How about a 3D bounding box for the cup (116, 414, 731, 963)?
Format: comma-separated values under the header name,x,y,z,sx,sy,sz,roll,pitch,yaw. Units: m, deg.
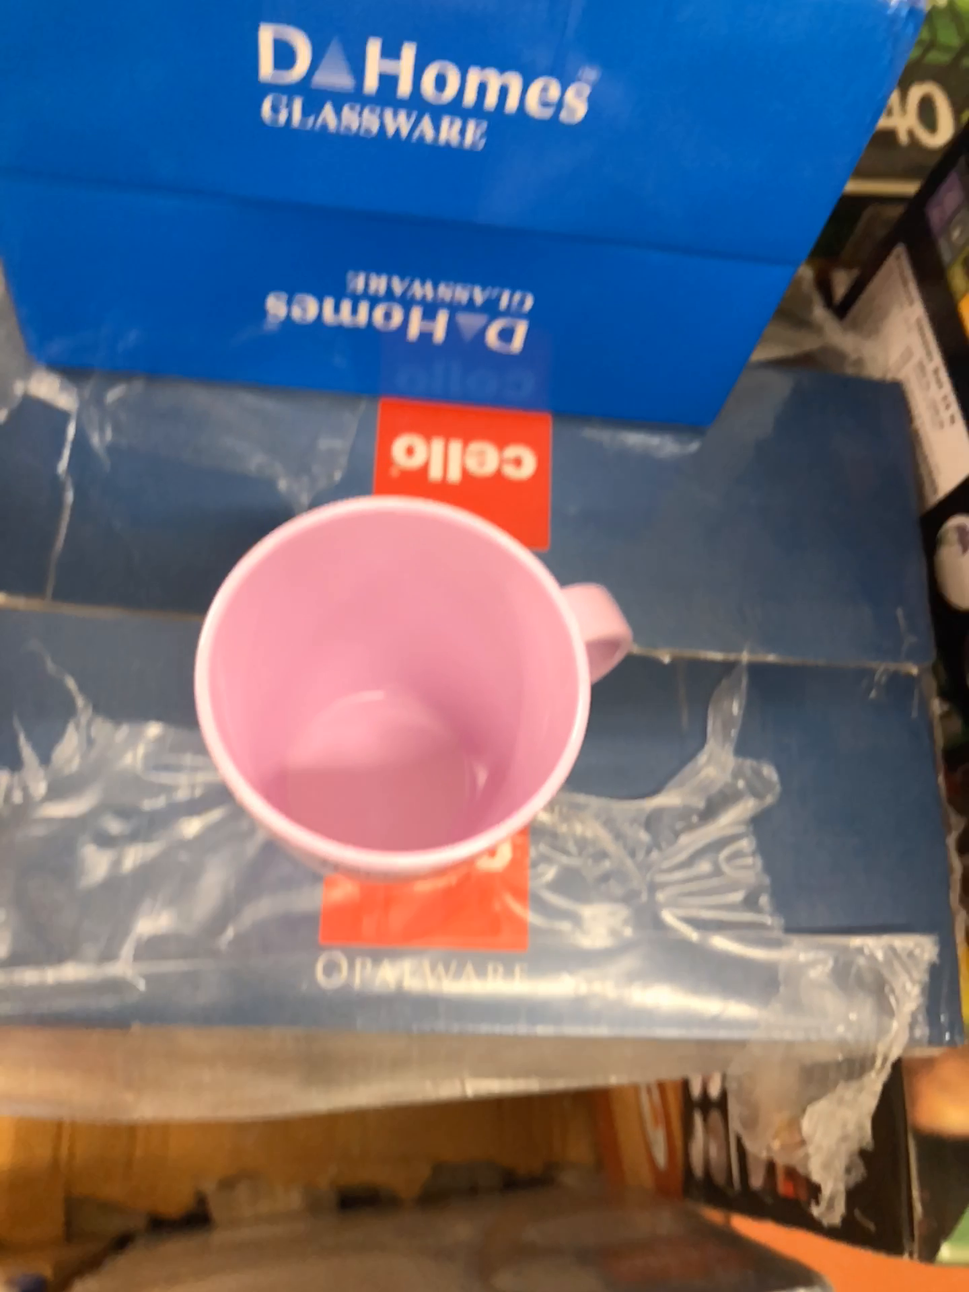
name,x,y,z,sx,sy,sz,roll,pitch,yaw
cup,-0.020,0.014,0.274,0.110,0.090,0.090,-15,73,-14
